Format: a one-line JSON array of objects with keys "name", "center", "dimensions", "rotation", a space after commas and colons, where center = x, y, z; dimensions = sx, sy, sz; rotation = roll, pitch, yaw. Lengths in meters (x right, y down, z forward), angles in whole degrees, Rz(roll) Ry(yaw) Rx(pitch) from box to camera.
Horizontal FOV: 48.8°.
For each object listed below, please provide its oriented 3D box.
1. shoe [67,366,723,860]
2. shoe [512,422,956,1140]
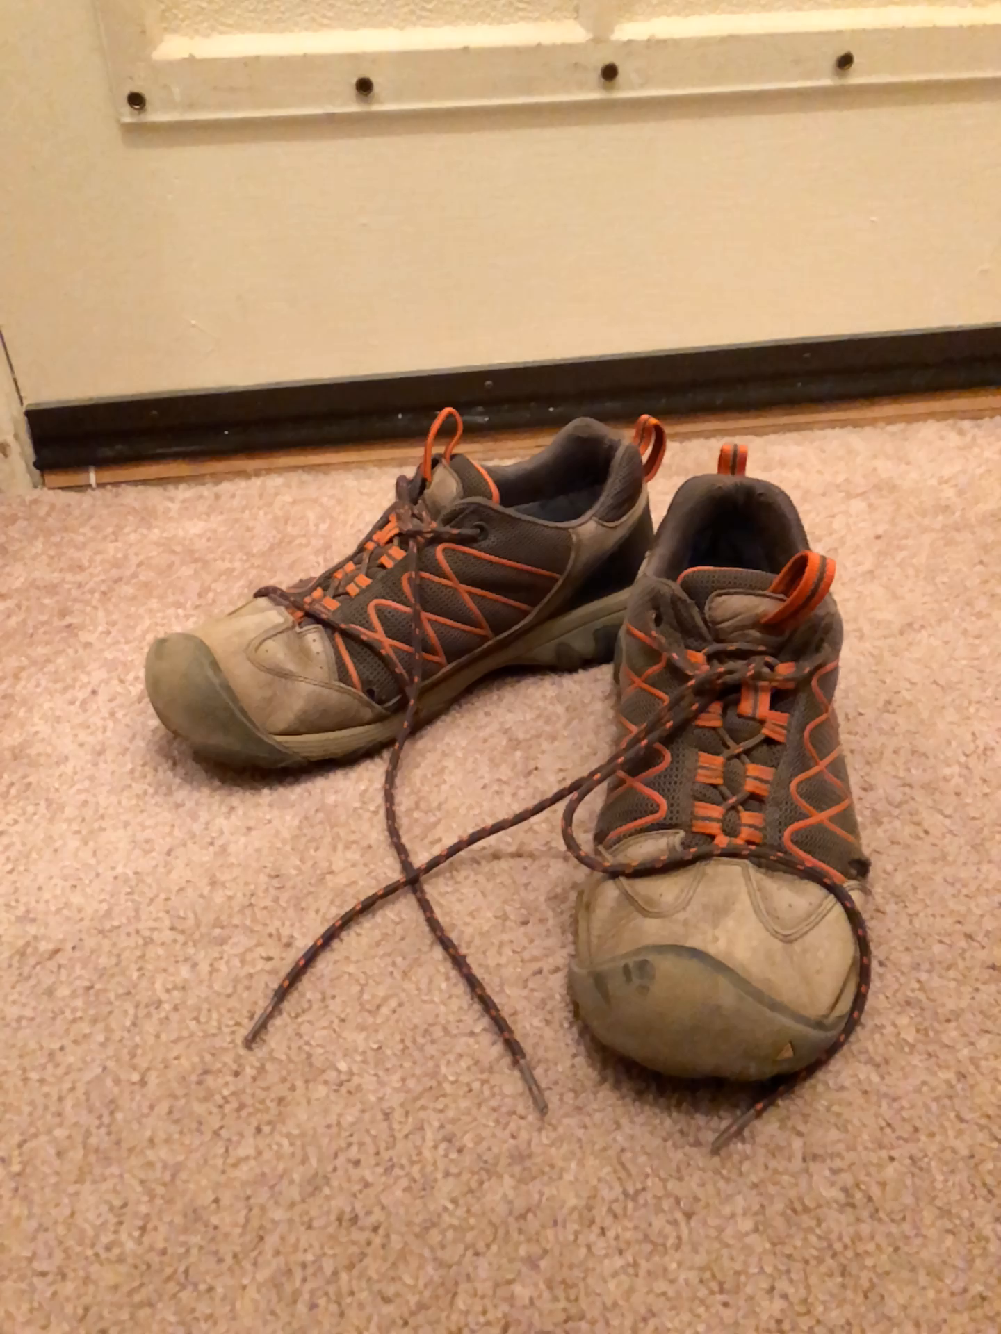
[{"name": "shoe", "center": [-0.044, -0.043, 0.579], "dimensions": [0.301, 0.129, 0.120], "rotation": [-22, 41, -25]}, {"name": "shoe", "center": [0.090, 0.021, 0.448], "dimensions": [0.120, 0.129, 0.272], "rotation": [6, 37, 10]}]
